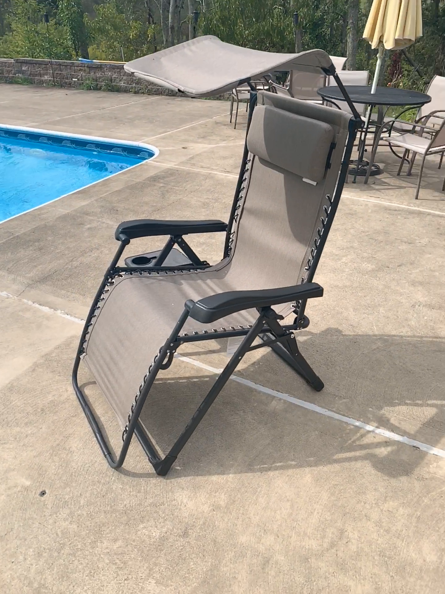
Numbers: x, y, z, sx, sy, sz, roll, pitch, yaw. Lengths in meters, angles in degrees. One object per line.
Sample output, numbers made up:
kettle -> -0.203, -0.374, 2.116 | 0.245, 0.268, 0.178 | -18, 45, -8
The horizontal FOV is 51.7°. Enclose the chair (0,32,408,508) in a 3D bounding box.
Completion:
chair -> -0.225, -0.244, 1.584 | 0.913, 1.137, 1.062 | -17, 35, -25
